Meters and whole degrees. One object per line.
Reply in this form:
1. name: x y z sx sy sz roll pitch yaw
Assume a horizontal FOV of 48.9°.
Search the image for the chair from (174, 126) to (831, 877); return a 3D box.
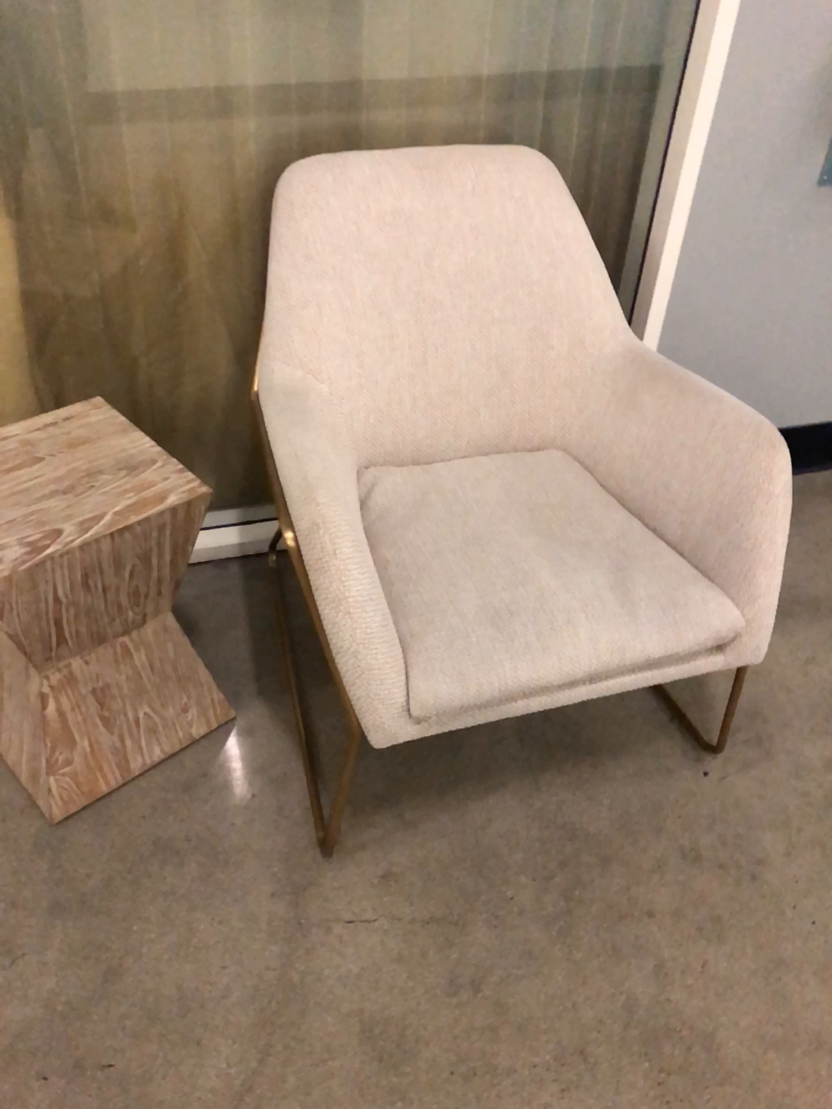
1. chair: 0.106 -0.171 1.563 0.830 0.816 0.894 -9 40 -16
